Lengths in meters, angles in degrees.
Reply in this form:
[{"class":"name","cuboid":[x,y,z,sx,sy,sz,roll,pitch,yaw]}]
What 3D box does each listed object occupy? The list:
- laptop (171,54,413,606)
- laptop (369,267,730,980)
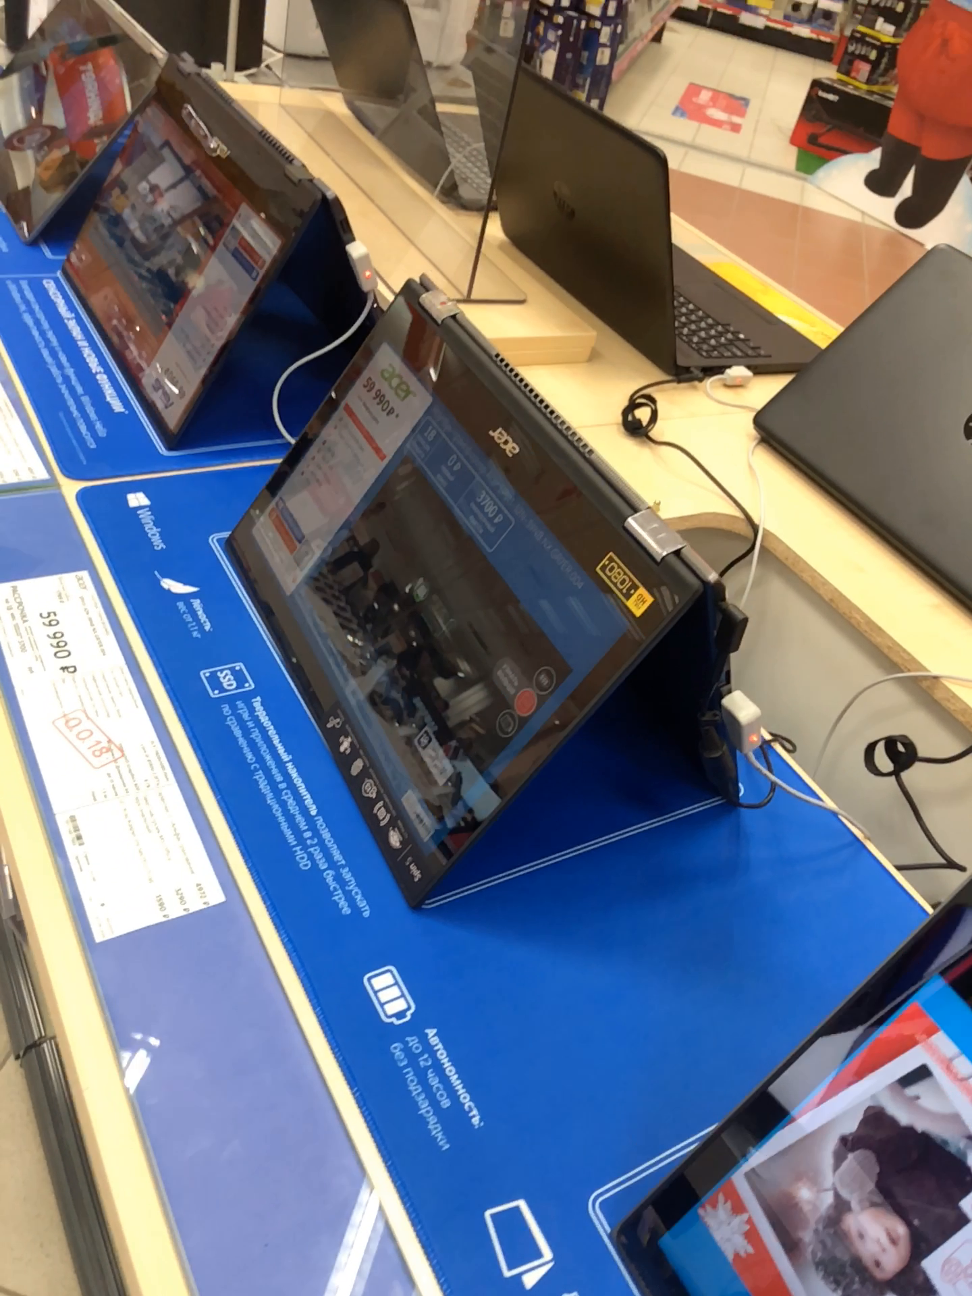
[{"class":"laptop","cuboid":[-0.183,-0.273,0.971,0.175,0.179,0.270,18,27,-48]},{"class":"laptop","cuboid":[0.035,0.006,0.728,0.201,0.159,0.308,25,22,-54]}]
